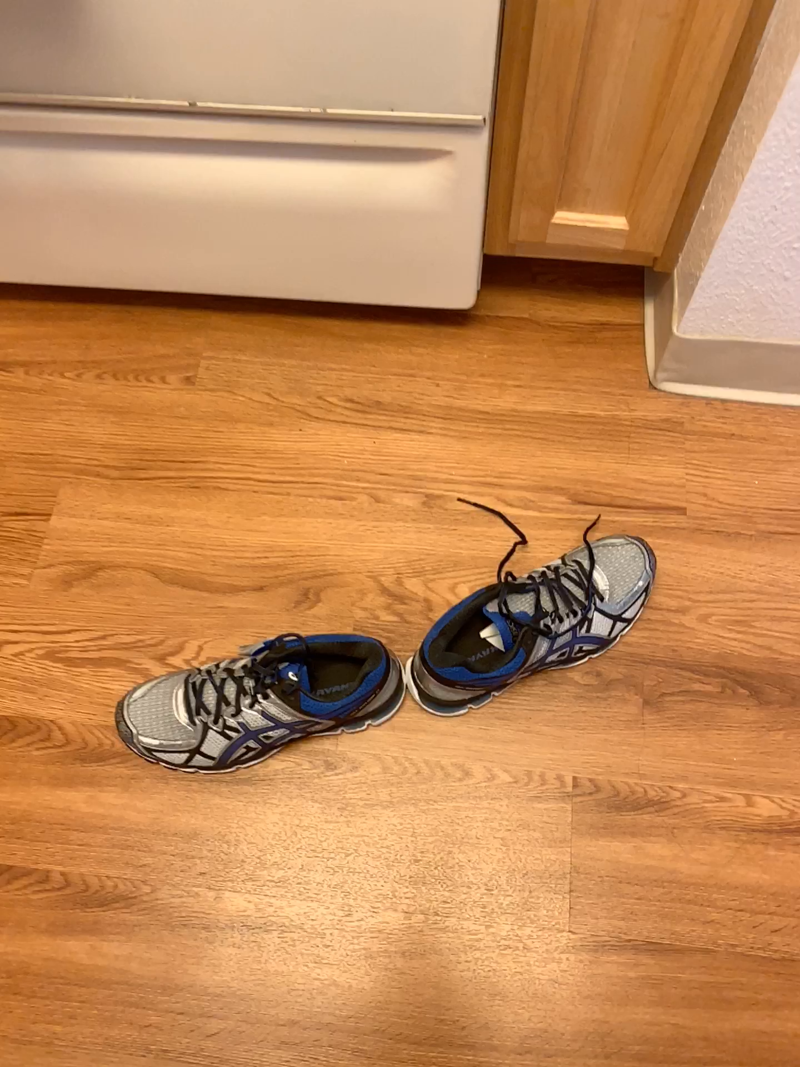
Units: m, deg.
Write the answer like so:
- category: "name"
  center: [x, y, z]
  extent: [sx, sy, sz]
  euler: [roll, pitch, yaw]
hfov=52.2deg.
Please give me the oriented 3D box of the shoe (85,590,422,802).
- category: "shoe"
  center: [-0.139, 0.165, 0.818]
  extent: [0.300, 0.120, 0.120]
  euler: [-13, 66, -3]

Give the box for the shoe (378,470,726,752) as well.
- category: "shoe"
  center: [0.153, 0.081, 0.856]
  extent: [0.330, 0.110, 0.120]
  euler: [-29, 68, -10]
